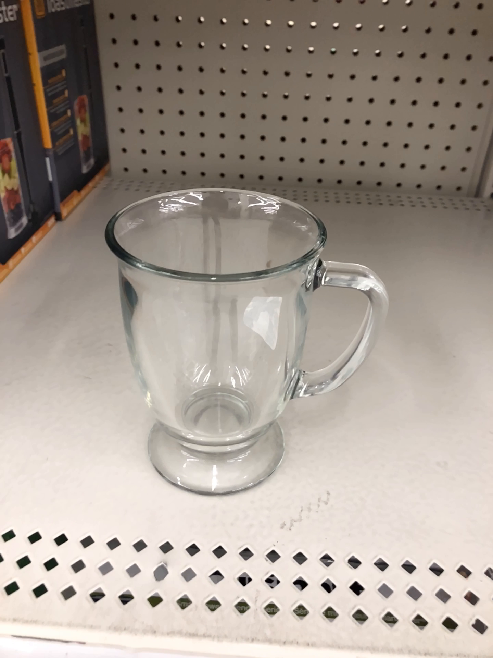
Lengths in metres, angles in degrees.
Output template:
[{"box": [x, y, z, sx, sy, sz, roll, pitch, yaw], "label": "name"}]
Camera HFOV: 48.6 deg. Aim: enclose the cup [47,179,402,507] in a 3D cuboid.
[{"box": [-0.007, 0.003, 0.292, 0.138, 0.128, 0.110, 3, 33, 3], "label": "cup"}]
